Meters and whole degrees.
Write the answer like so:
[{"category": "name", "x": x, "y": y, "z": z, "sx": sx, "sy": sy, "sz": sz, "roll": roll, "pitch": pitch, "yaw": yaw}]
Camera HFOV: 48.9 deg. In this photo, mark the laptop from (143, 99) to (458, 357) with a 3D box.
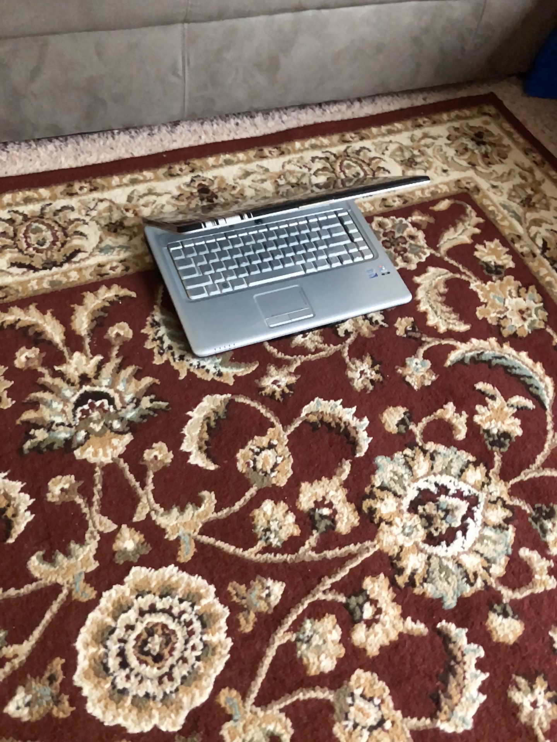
[{"category": "laptop", "x": 0.018, "y": -0.208, "z": 0.853, "sx": 0.342, "sy": 0.164, "sz": 0.244, "roll": -17, "pitch": 62, "yaw": -19}]
